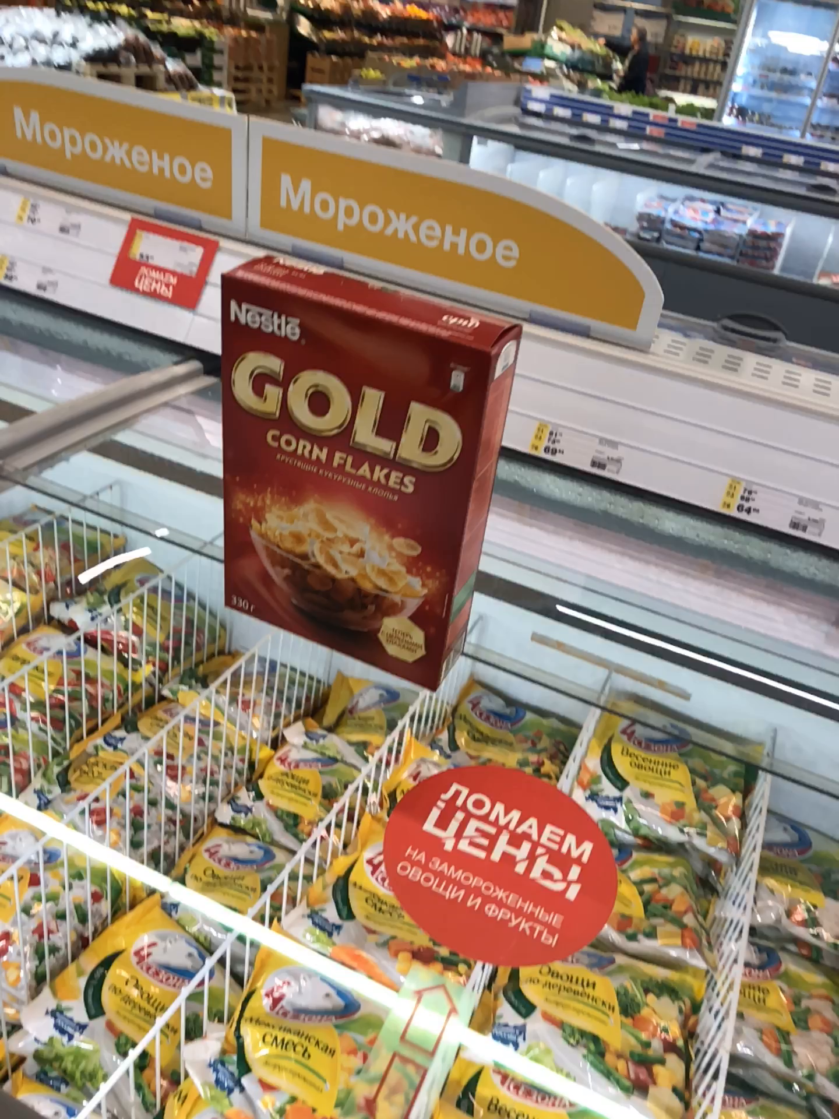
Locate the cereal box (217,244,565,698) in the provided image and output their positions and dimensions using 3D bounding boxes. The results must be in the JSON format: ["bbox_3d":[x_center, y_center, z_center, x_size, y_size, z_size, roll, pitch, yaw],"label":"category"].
[{"bbox_3d":[-0.034,-0.057,0.635,0.210,0.258,0.060,20,36,18],"label":"cereal box"}]
